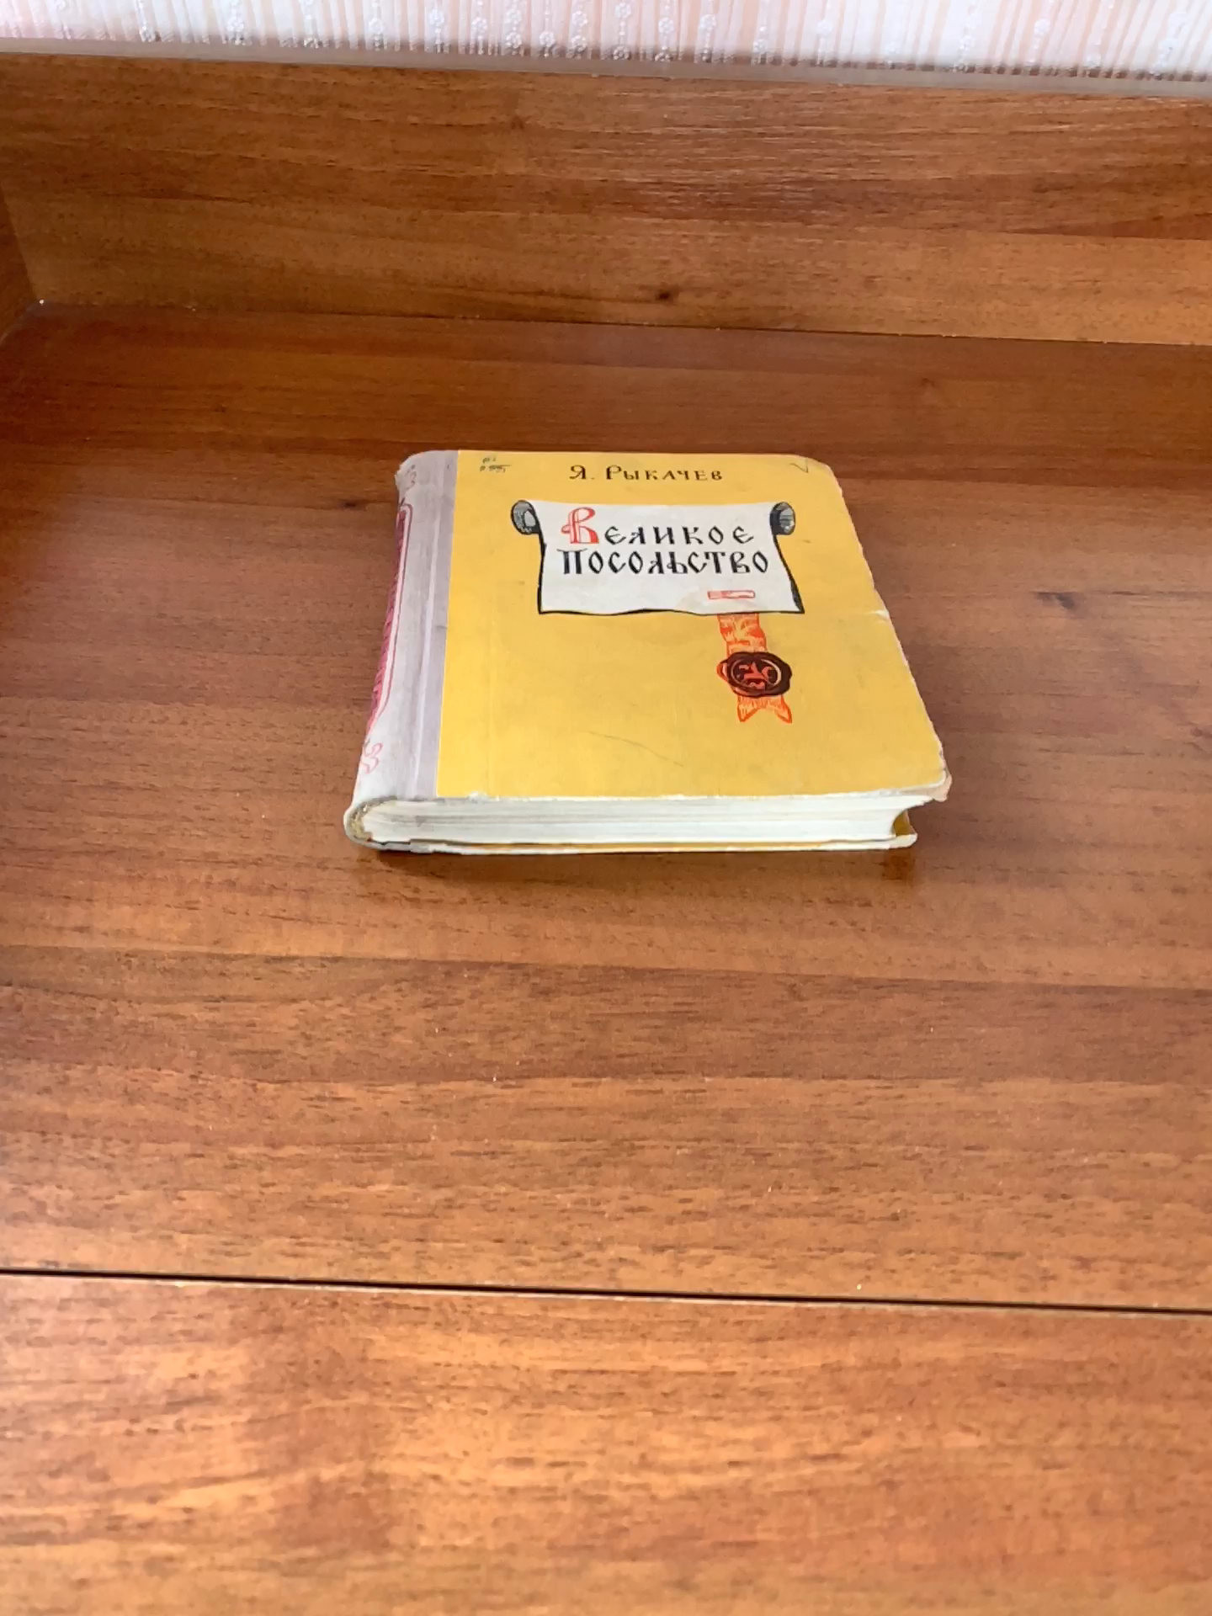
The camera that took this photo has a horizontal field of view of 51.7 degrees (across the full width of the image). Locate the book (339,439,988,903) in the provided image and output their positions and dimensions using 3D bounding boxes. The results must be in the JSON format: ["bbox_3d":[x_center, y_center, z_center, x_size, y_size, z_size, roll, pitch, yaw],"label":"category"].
[{"bbox_3d":[0.010,-0.046,0.341,0.142,0.023,0.172,1,44,-4],"label":"book"}]
